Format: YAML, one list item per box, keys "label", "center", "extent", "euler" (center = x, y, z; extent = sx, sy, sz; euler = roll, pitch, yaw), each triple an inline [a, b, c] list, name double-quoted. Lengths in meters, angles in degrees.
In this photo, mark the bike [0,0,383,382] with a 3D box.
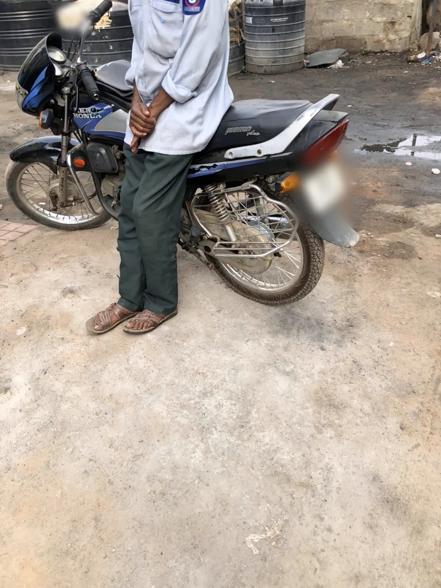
- label: "bike"
  center: [-0.412, -0.600, 2.083]
  extent: [1.799, 1.154, 0.789]
  euler: [18, 39, 27]
